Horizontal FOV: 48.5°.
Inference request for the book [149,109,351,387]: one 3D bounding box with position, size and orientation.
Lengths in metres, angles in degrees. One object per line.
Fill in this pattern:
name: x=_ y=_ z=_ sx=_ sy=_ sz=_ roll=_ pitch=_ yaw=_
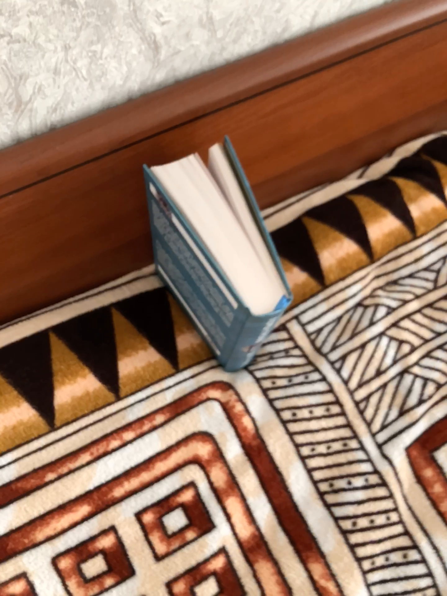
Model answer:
book: x=0.008 y=-0.028 z=0.447 sx=0.078 sy=0.199 sz=0.160 roll=-25 pitch=73 yaw=-13
